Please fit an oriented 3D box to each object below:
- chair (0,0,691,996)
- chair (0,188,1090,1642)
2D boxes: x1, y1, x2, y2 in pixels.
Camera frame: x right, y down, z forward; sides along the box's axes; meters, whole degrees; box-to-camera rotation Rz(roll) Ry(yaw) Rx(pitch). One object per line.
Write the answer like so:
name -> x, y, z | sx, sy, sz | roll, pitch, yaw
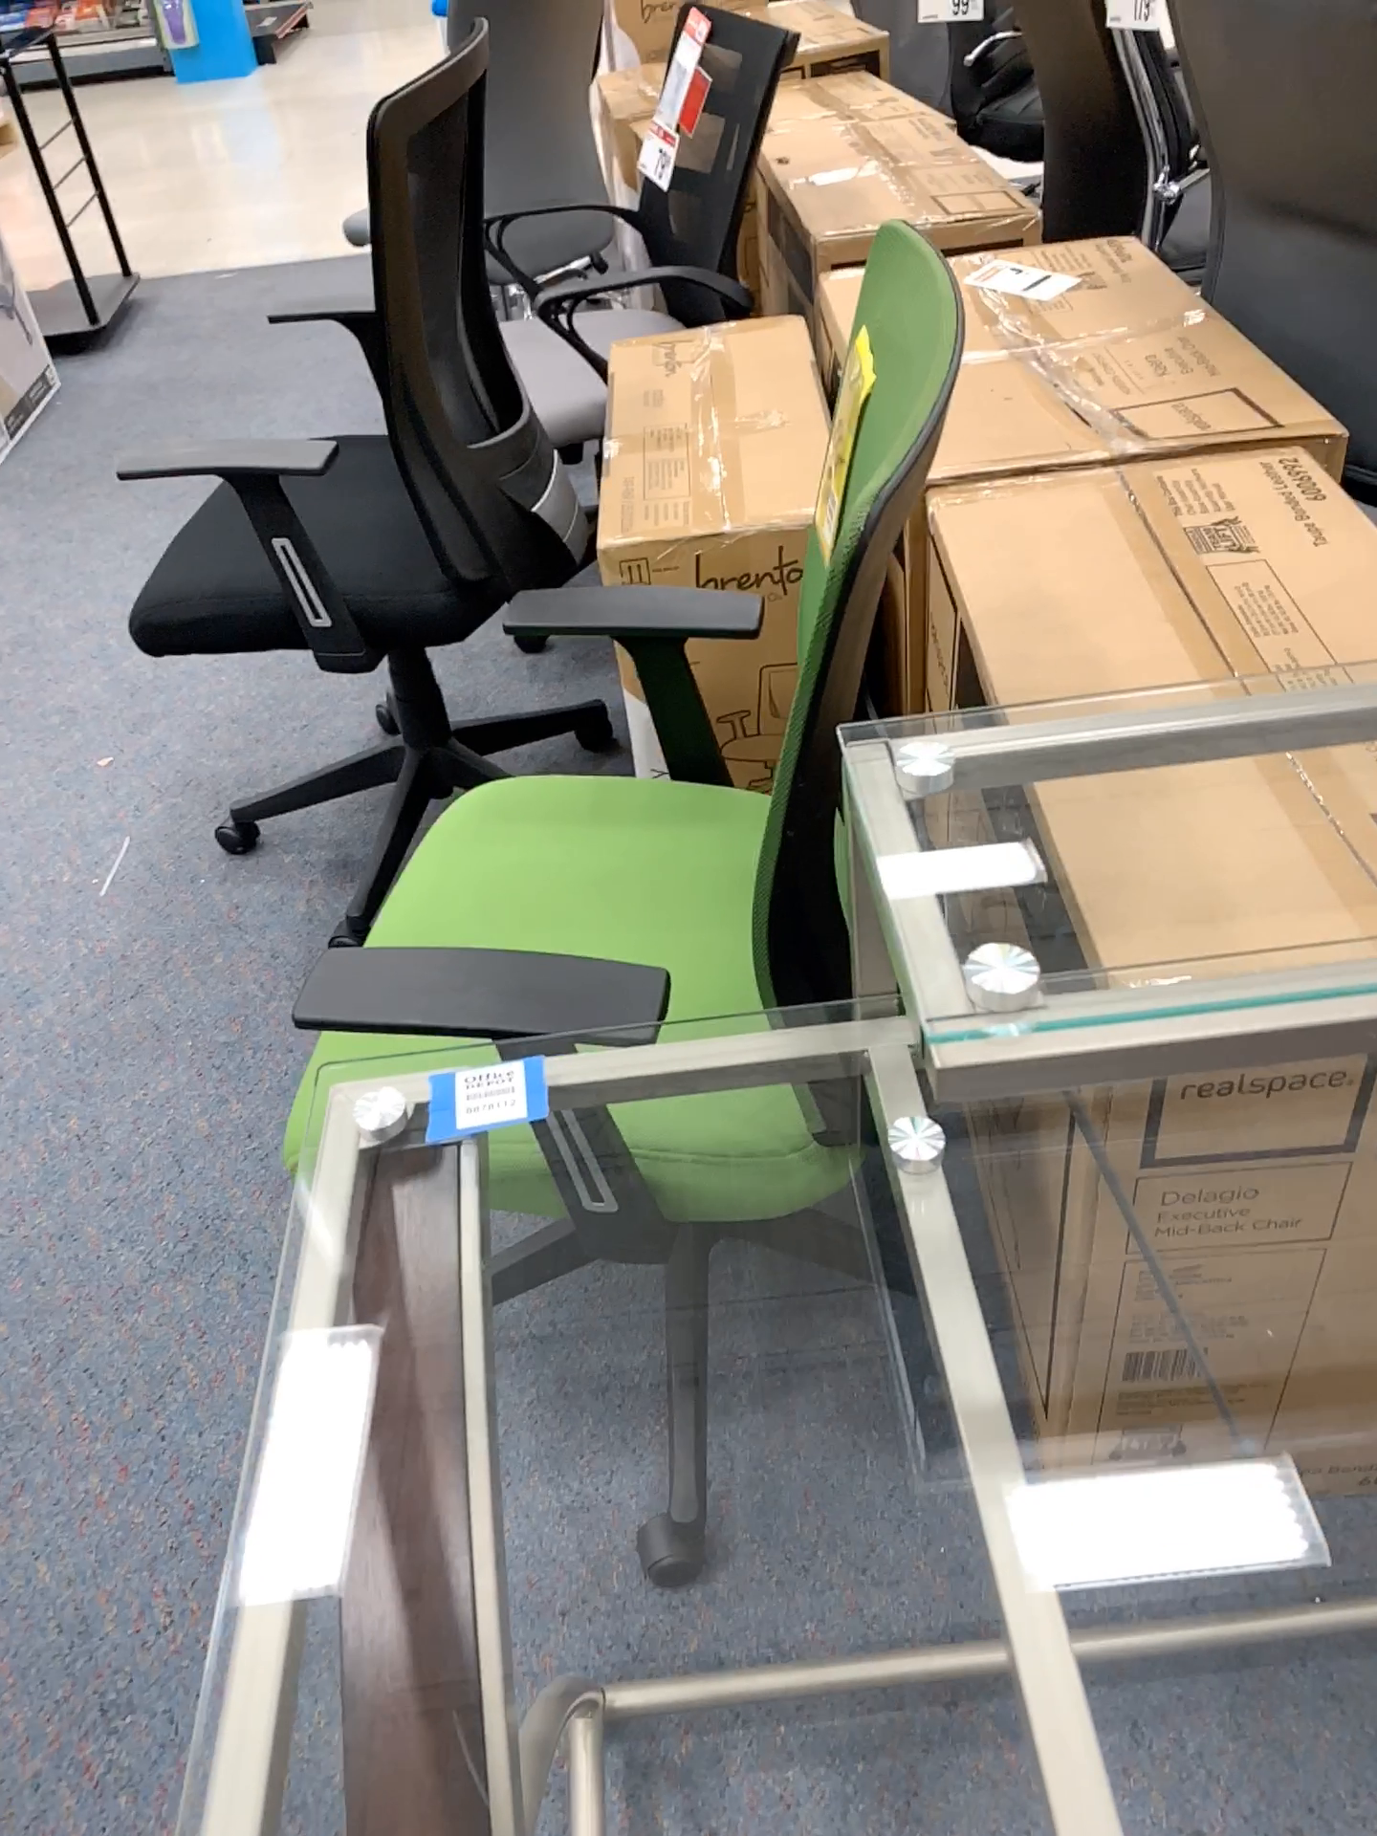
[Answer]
chair -> -0.422, -0.497, 1.750 | 0.657, 0.972, 0.647 | 2, 41, 11
chair -> -0.035, 0.011, 1.135 | 0.597, 0.912, 0.647 | 2, 41, 11
